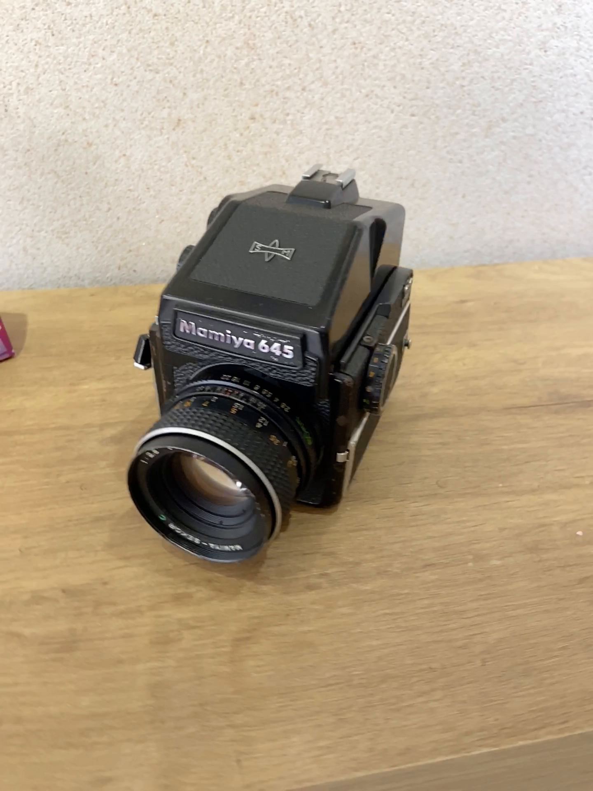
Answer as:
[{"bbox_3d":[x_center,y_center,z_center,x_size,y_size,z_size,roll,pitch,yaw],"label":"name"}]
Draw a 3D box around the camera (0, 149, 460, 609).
[{"bbox_3d":[-0.016,-0.025,0.274,0.130,0.109,0.161,14,39,18],"label":"camera"}]
